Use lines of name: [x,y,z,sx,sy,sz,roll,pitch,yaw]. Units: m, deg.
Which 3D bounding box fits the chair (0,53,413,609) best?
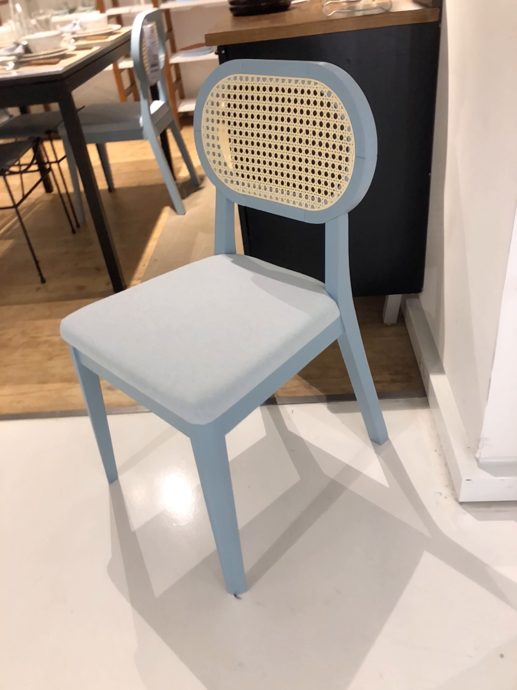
chair: [-0.076,-0.063,1.124,0.562,0.824,0.482,-33,42,-32]
